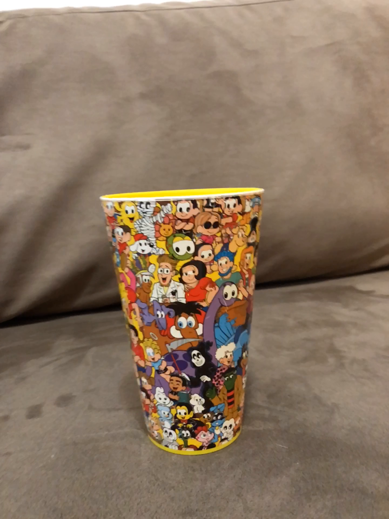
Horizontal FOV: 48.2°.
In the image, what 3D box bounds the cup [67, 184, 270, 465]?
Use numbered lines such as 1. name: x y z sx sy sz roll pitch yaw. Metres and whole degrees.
1. cup: -0.006 0.029 0.267 0.090 0.140 0.090 -4 10 1
